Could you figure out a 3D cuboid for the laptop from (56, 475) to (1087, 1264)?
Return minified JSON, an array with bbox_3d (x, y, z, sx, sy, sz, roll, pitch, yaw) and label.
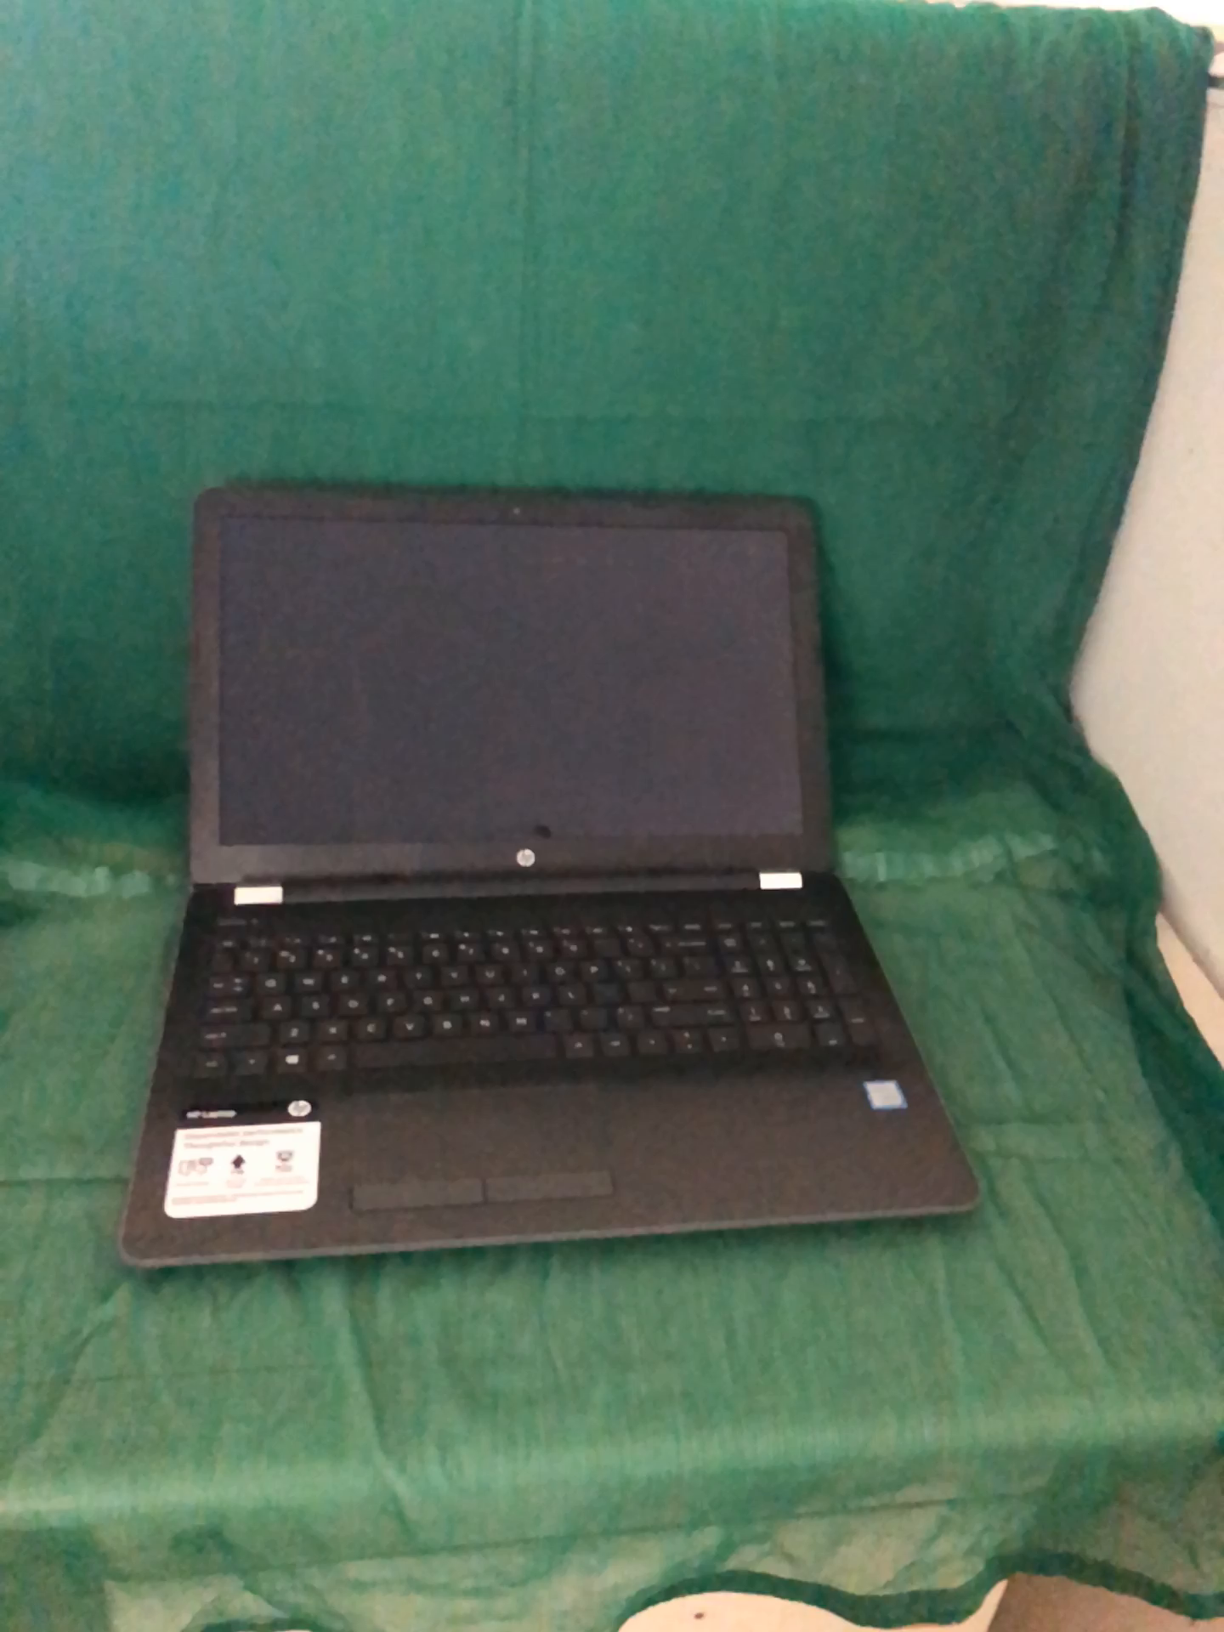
[{"bbox_3d":[-0.035,-0.014,0.709,0.378,0.178,0.417,-1,35,-8],"label":"laptop"}]
